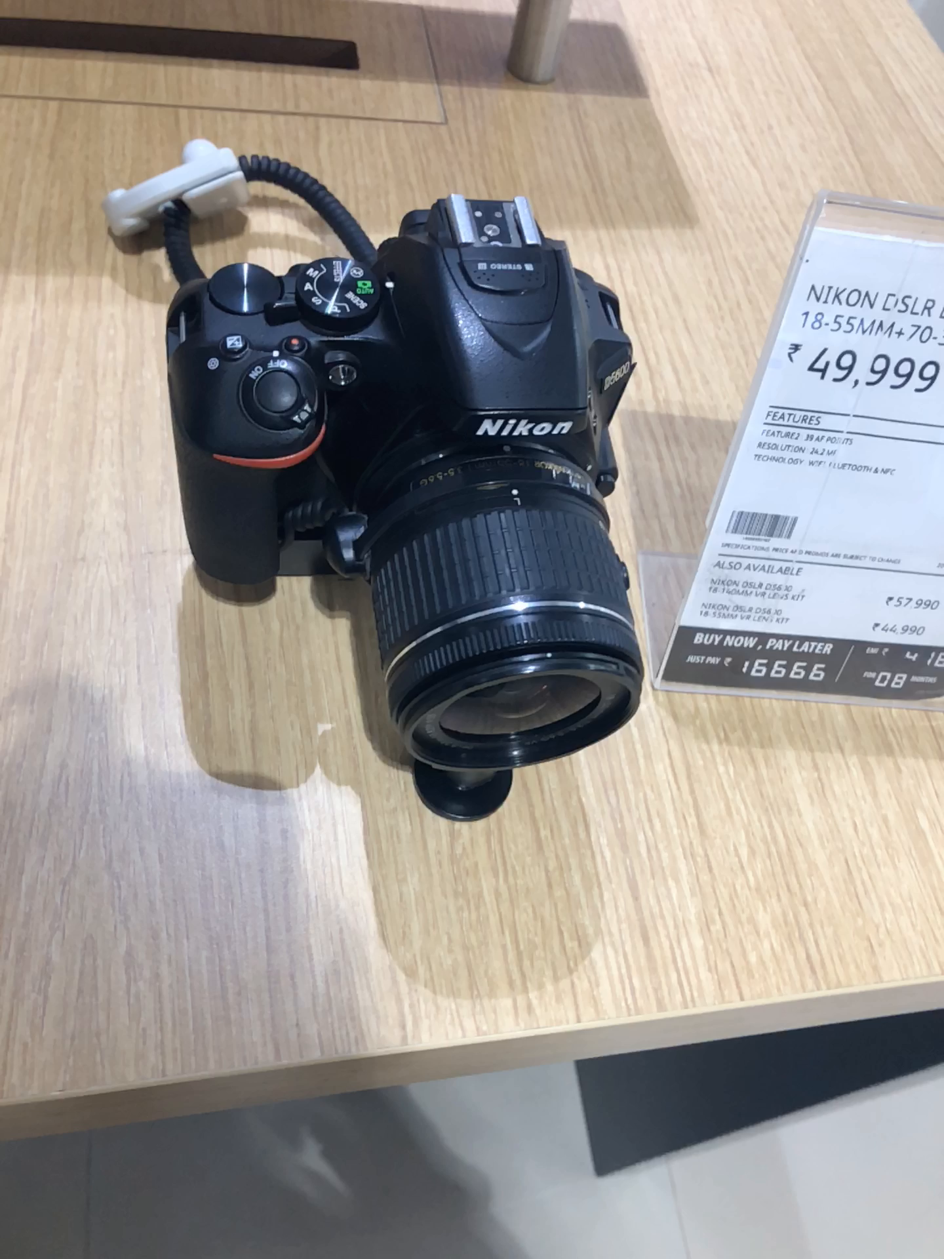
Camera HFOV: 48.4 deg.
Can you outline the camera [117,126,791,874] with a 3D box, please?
[{"bbox_3d":[-0.020,-0.036,0.280,0.130,0.099,0.161,-3,59,-13],"label":"camera"}]
